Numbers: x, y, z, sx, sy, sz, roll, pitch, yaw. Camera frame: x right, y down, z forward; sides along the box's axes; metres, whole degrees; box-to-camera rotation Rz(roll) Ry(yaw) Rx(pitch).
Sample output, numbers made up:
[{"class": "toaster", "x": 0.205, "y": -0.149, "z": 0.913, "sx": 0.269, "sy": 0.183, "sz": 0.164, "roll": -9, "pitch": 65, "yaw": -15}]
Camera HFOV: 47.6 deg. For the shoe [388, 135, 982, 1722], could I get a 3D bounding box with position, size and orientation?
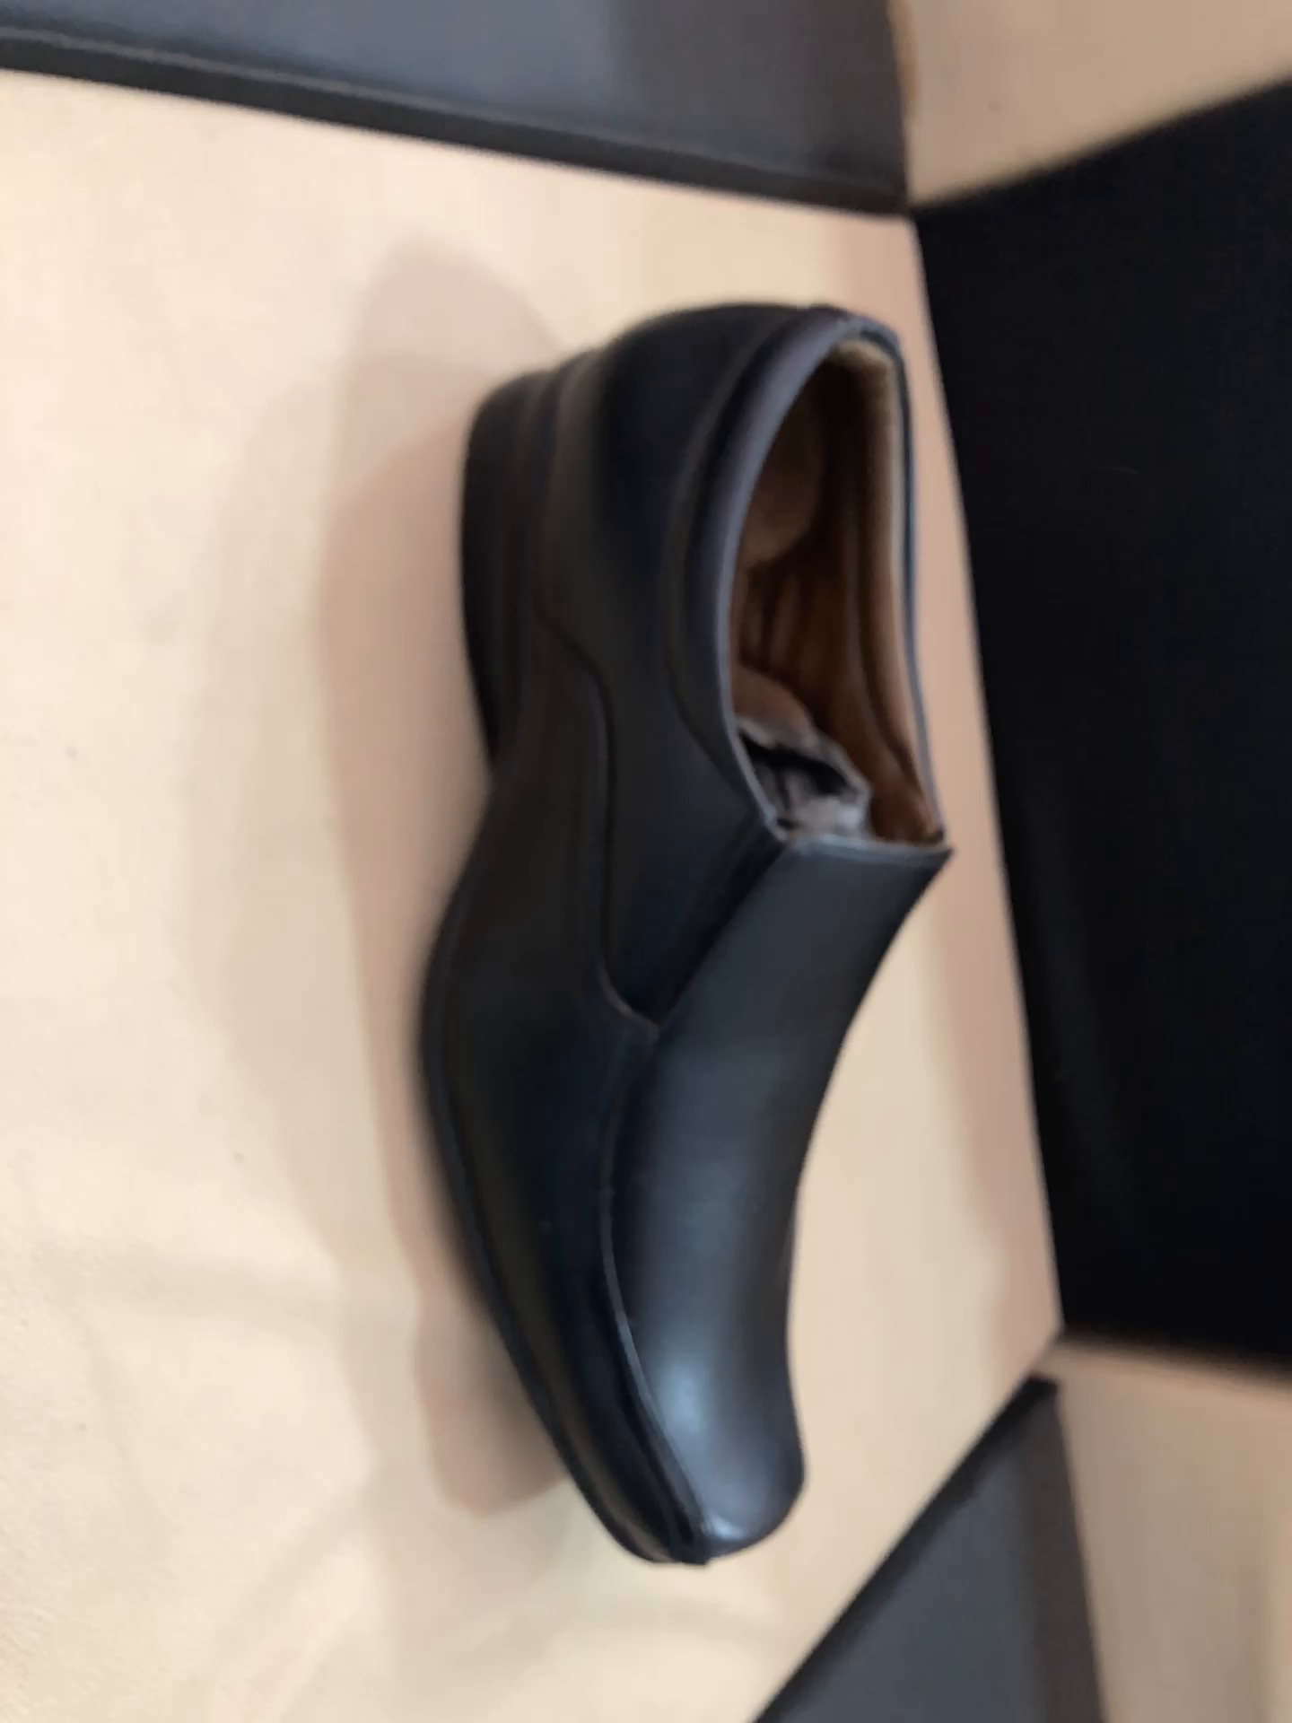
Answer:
[{"class": "shoe", "x": 0.010, "y": 0.020, "z": 0.339, "sx": 0.091, "sy": 0.099, "sz": 0.310, "roll": 0, "pitch": 89, "yaw": -52}]
